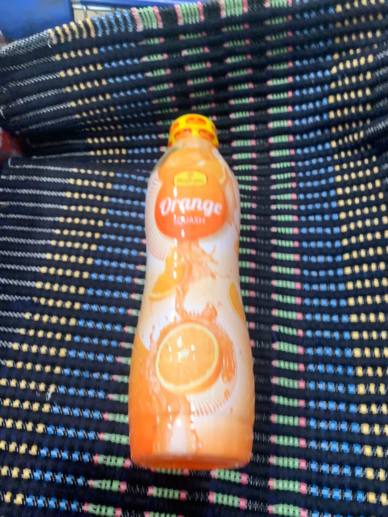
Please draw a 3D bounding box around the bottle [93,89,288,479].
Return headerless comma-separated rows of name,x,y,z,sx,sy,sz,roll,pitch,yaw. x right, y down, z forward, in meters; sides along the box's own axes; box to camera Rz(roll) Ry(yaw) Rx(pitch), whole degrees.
bottle,0.002,-0.004,0.259,0.080,0.060,0.251,-1,57,3
